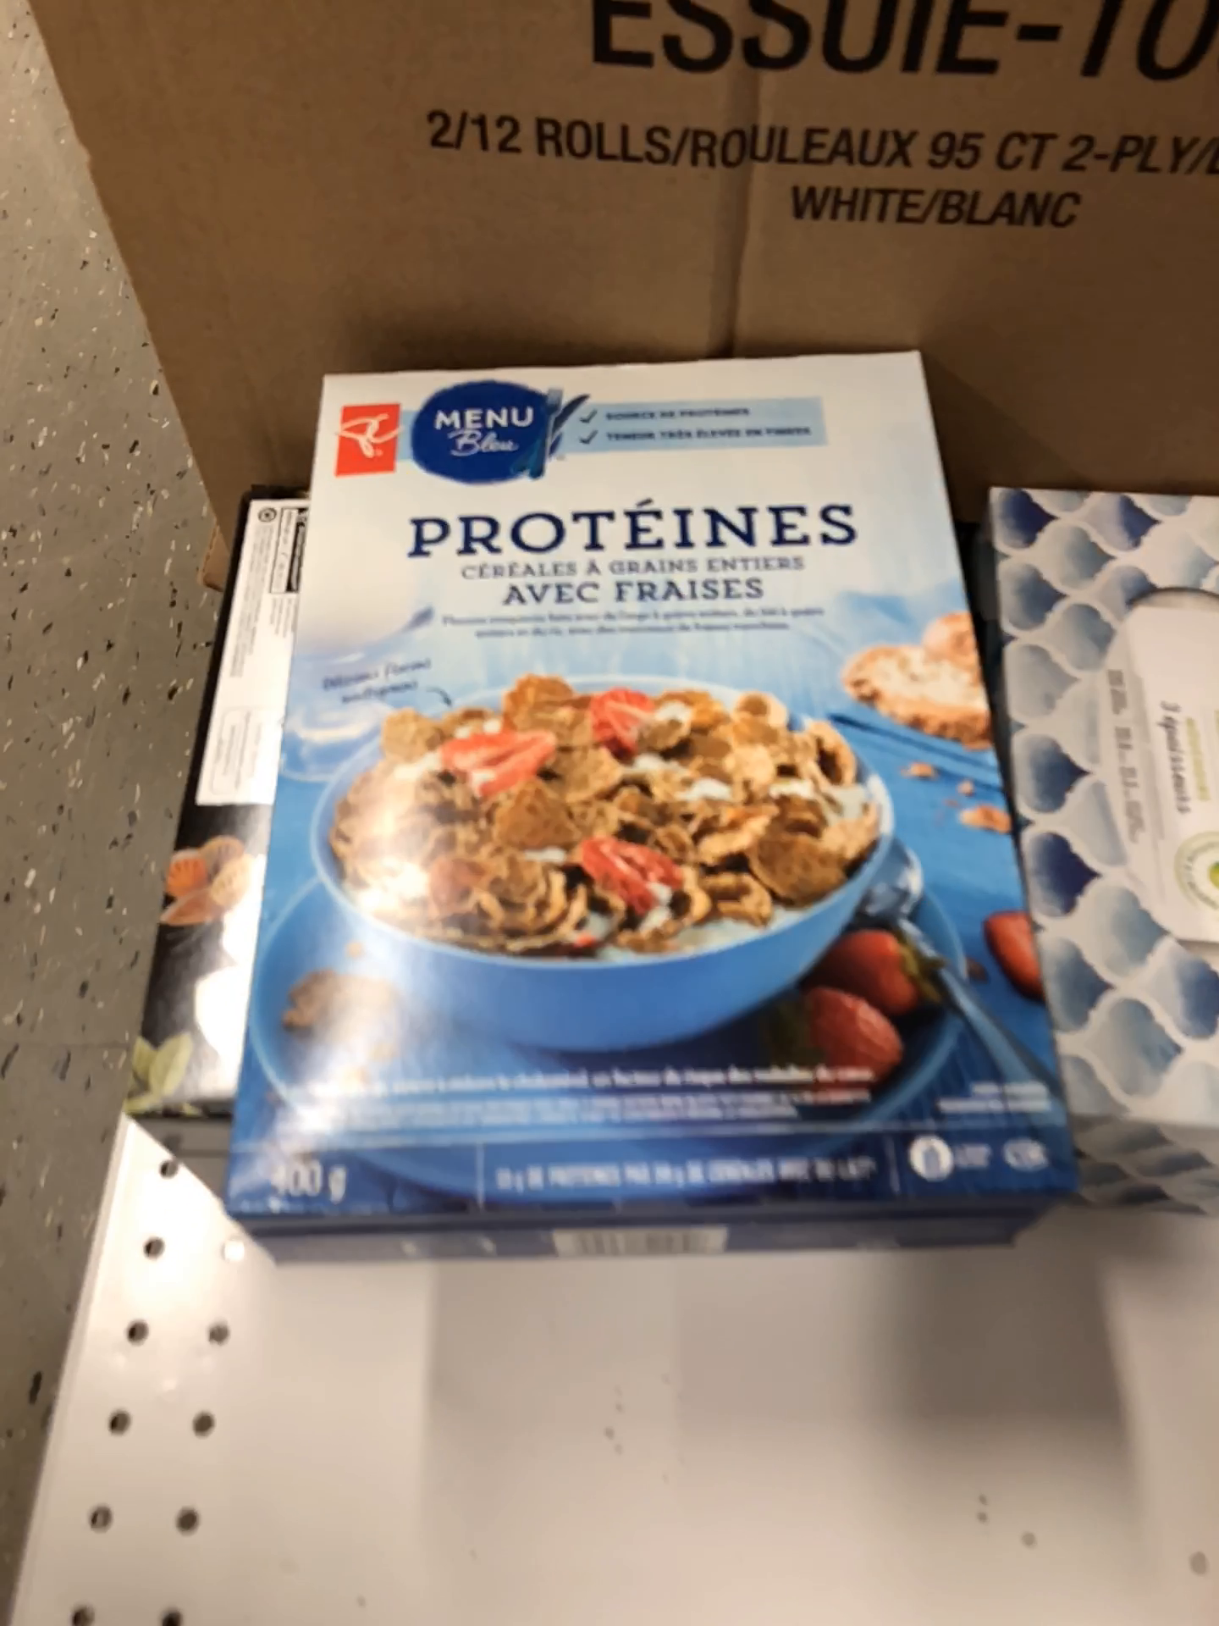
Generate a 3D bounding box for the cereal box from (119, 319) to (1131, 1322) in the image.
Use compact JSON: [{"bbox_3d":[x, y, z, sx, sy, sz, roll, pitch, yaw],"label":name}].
[{"bbox_3d":[0.000,-0.013,0.337,0.190,0.050,0.251,-3,60,2],"label":"cereal box"}]
